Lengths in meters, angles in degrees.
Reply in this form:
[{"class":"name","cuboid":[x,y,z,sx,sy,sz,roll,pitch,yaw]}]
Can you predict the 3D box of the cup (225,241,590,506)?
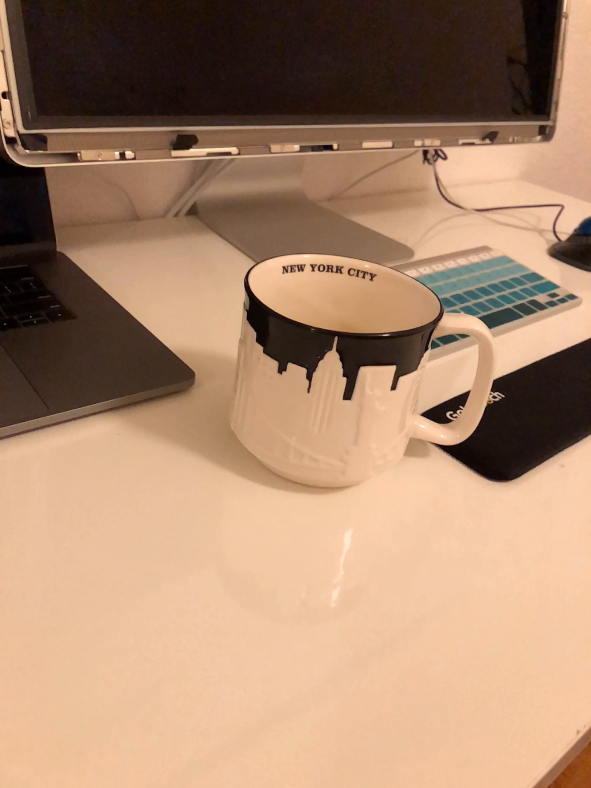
[{"class":"cup","cuboid":[0.046,-0.014,0.358,0.160,0.089,0.111,4,32,-8]}]
